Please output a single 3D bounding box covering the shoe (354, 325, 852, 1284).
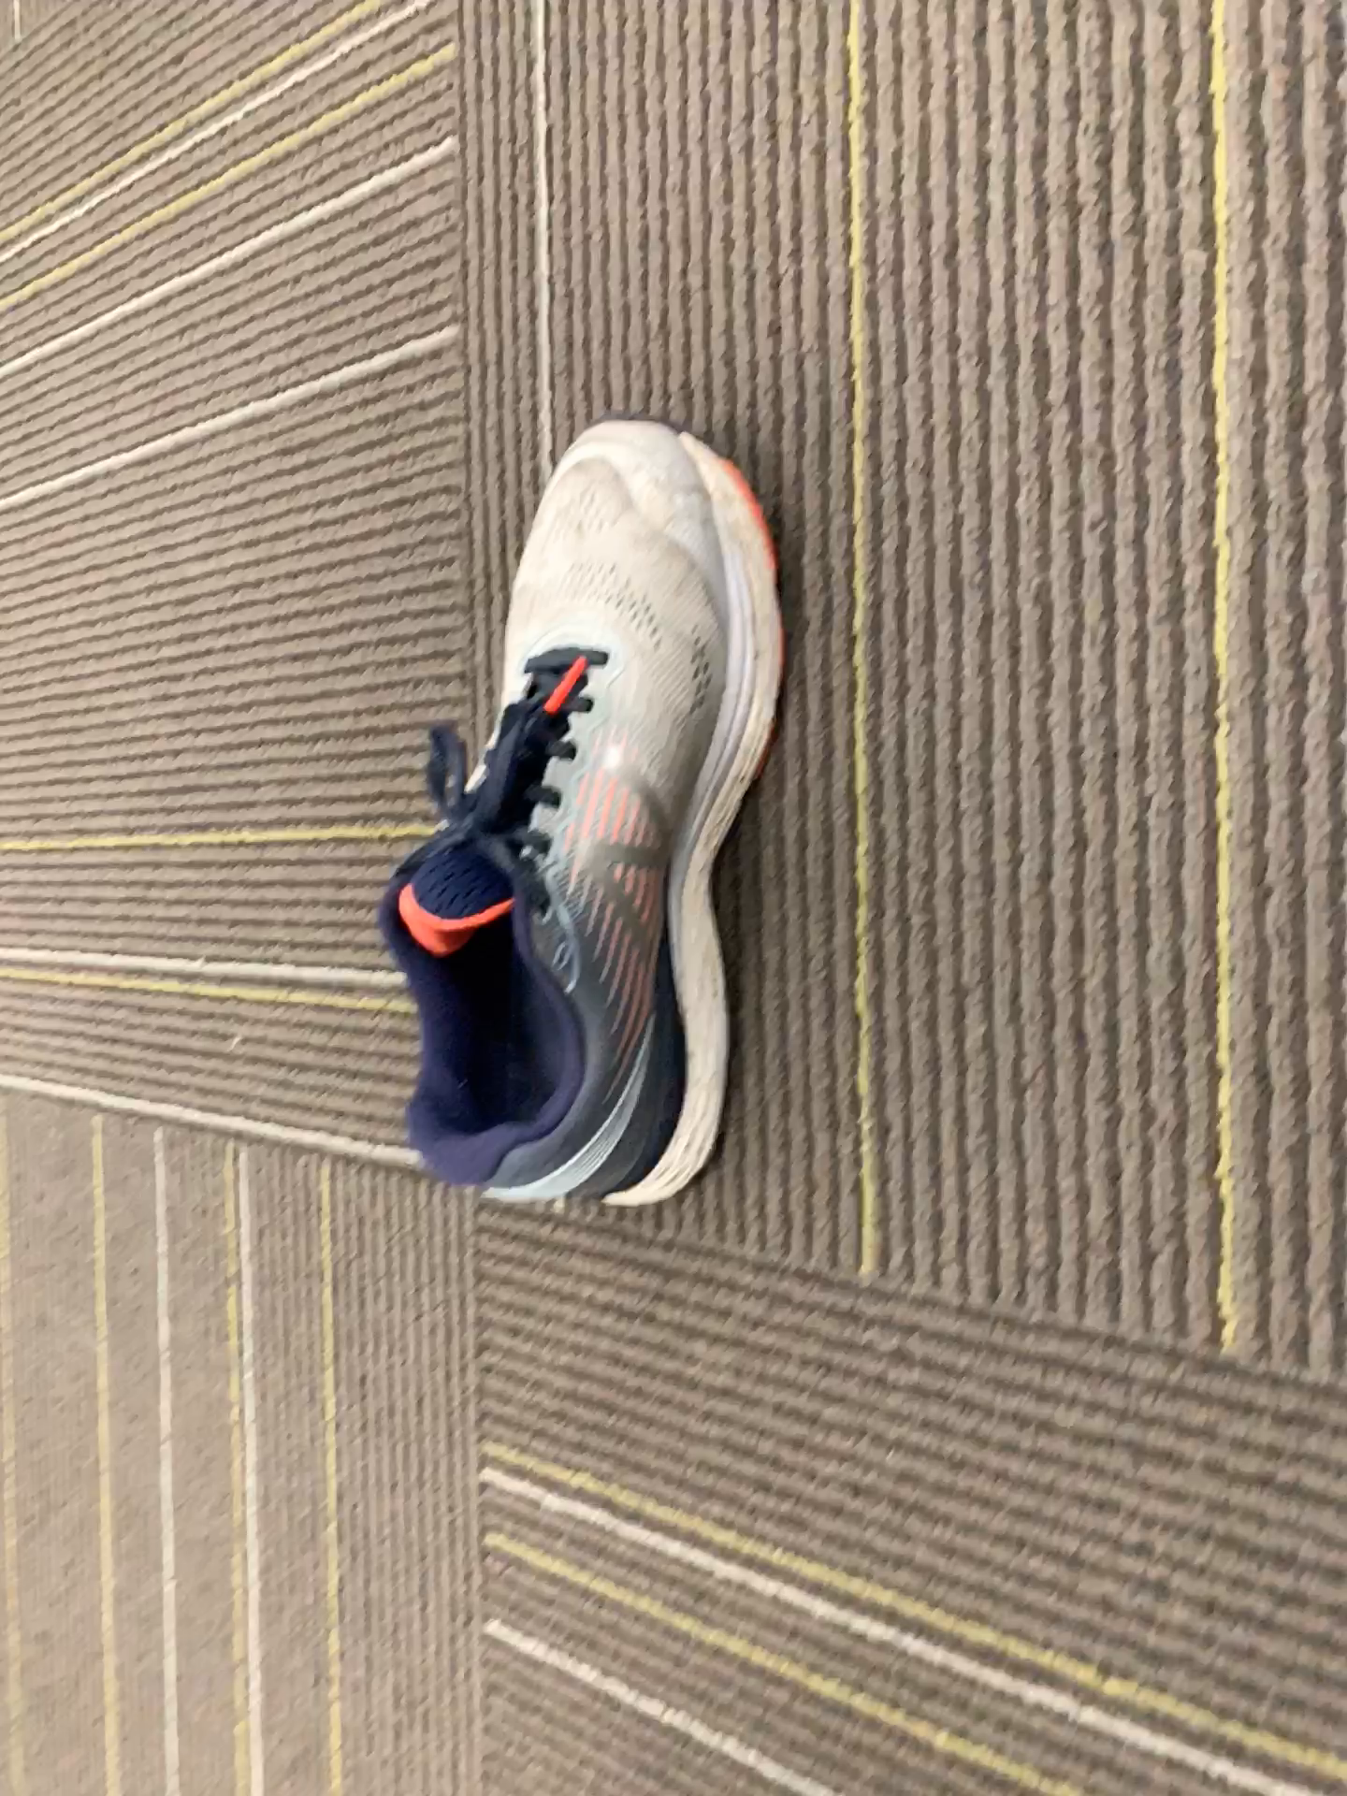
[{"bbox_3d":[-0.030,-0.033,0.488,0.131,0.079,0.290,11,98,39],"label":"shoe"}]
